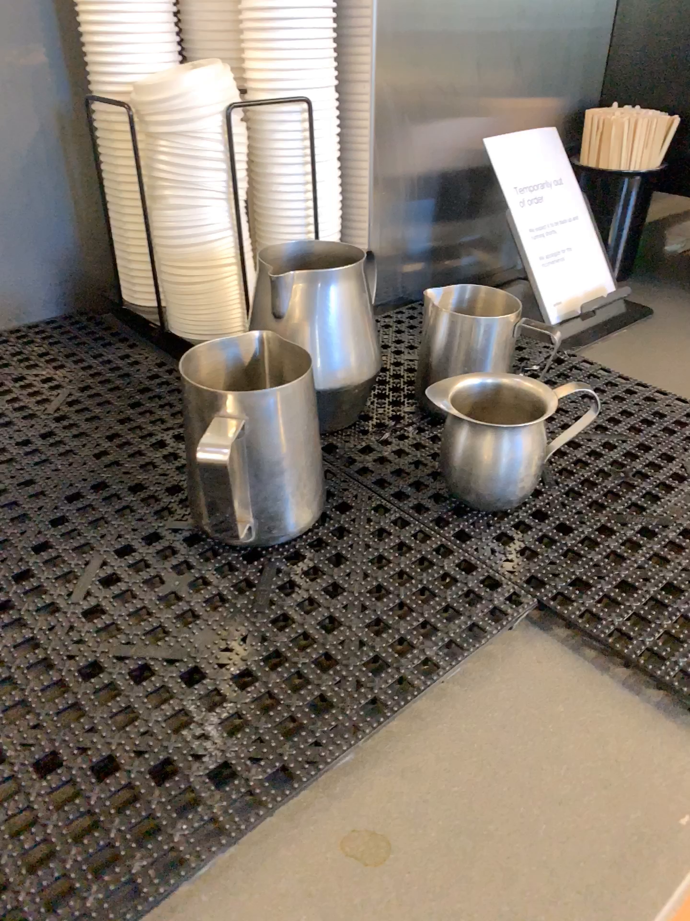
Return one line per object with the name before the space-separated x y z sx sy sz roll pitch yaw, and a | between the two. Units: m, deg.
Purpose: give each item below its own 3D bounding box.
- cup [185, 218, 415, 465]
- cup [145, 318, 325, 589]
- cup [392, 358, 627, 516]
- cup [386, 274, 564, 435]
cup | -0.029 -0.101 0.556 0.100 0.129 0.151 19 37 27
cup | -0.054 -0.008 0.411 0.080 0.109 0.121 0 33 0
cup | 0.098 -0.018 0.450 0.120 0.060 0.081 -4 33 -6
cup | 0.099 -0.085 0.548 0.110 0.079 0.080 15 35 21
